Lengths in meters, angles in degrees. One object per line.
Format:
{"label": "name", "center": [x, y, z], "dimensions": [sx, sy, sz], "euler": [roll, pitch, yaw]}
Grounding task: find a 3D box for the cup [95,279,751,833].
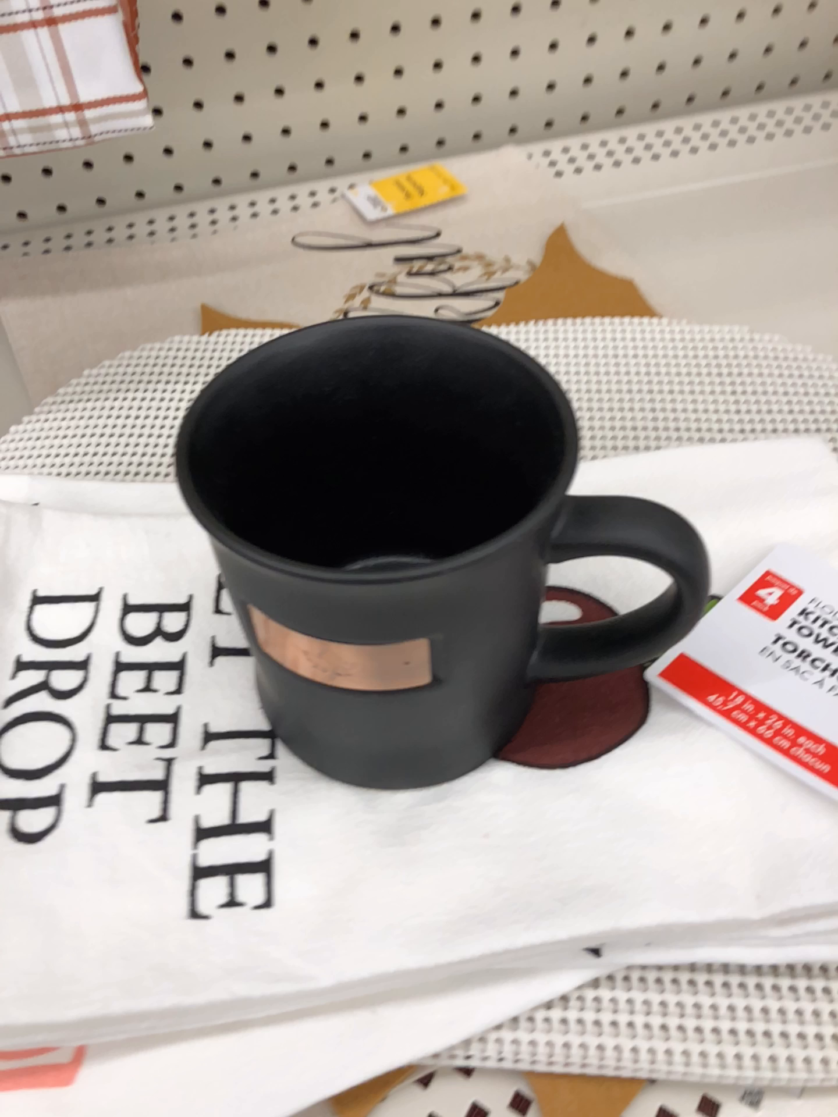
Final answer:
{"label": "cup", "center": [0.009, 0.000, 0.268], "dimensions": [0.140, 0.110, 0.100], "euler": [6, 52, 9]}
